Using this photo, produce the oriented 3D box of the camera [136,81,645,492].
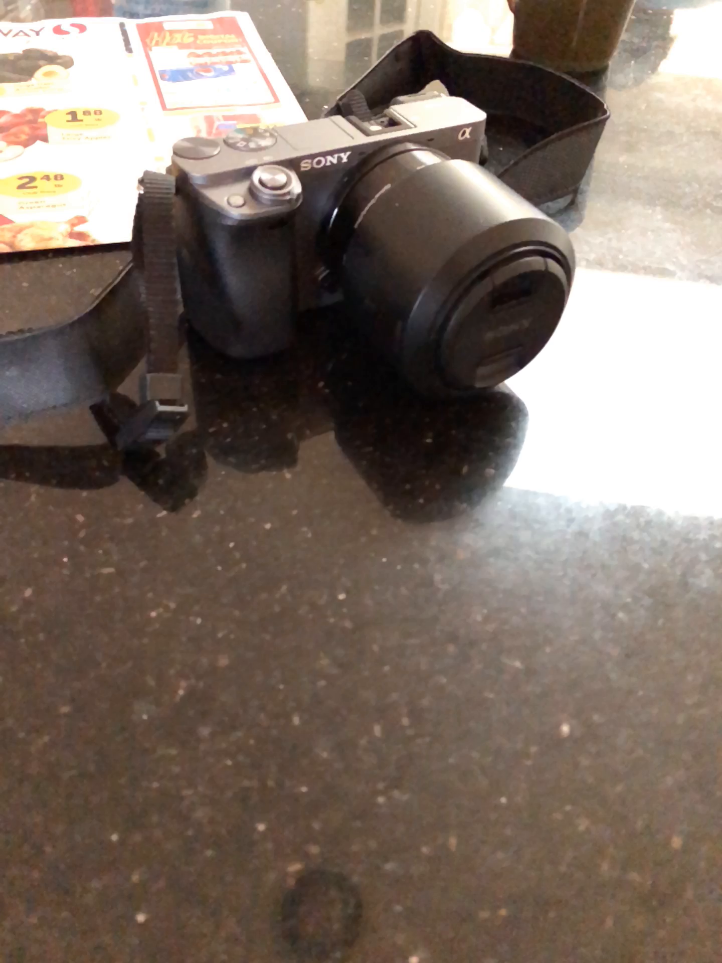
[{"bbox_3d":[0.005,-0.078,0.288,0.130,0.070,0.110,-21,53,-22],"label":"camera"}]
